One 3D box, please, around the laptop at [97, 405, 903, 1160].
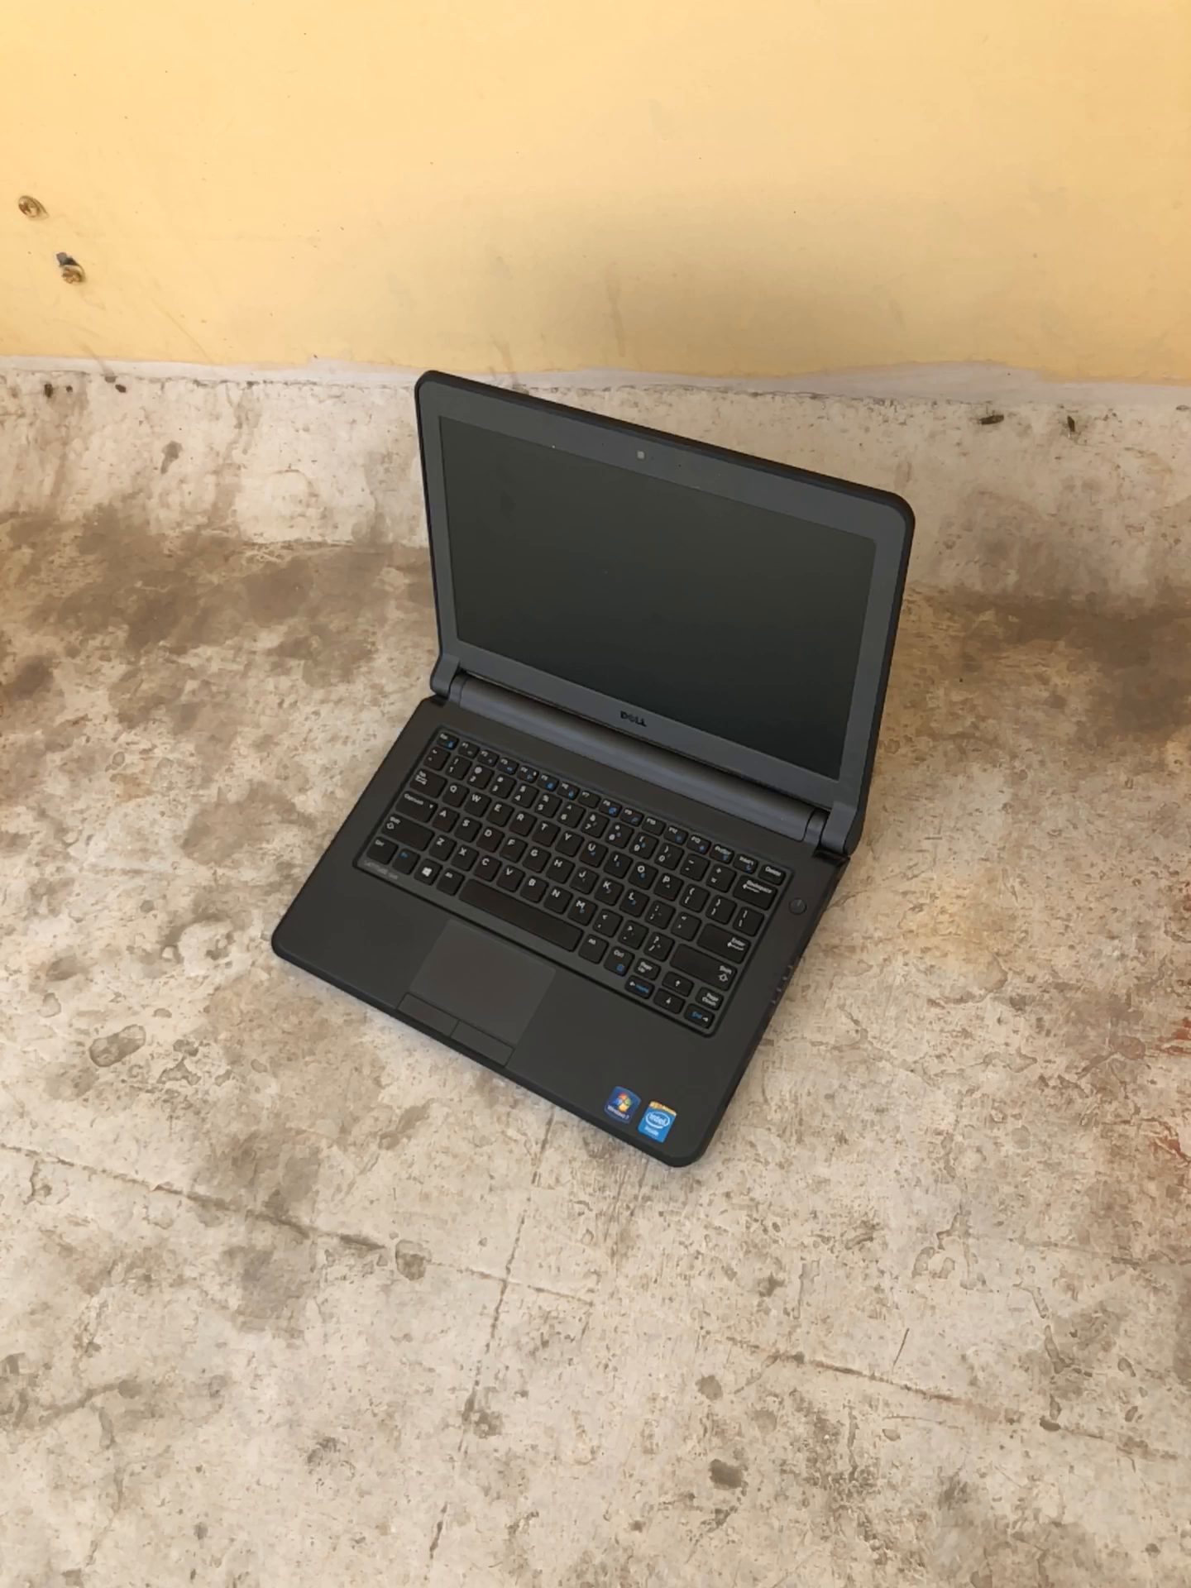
[{"bbox_3d":[-0.033,-0.016,0.759,0.309,0.208,0.299,22,67,26],"label":"laptop"}]
